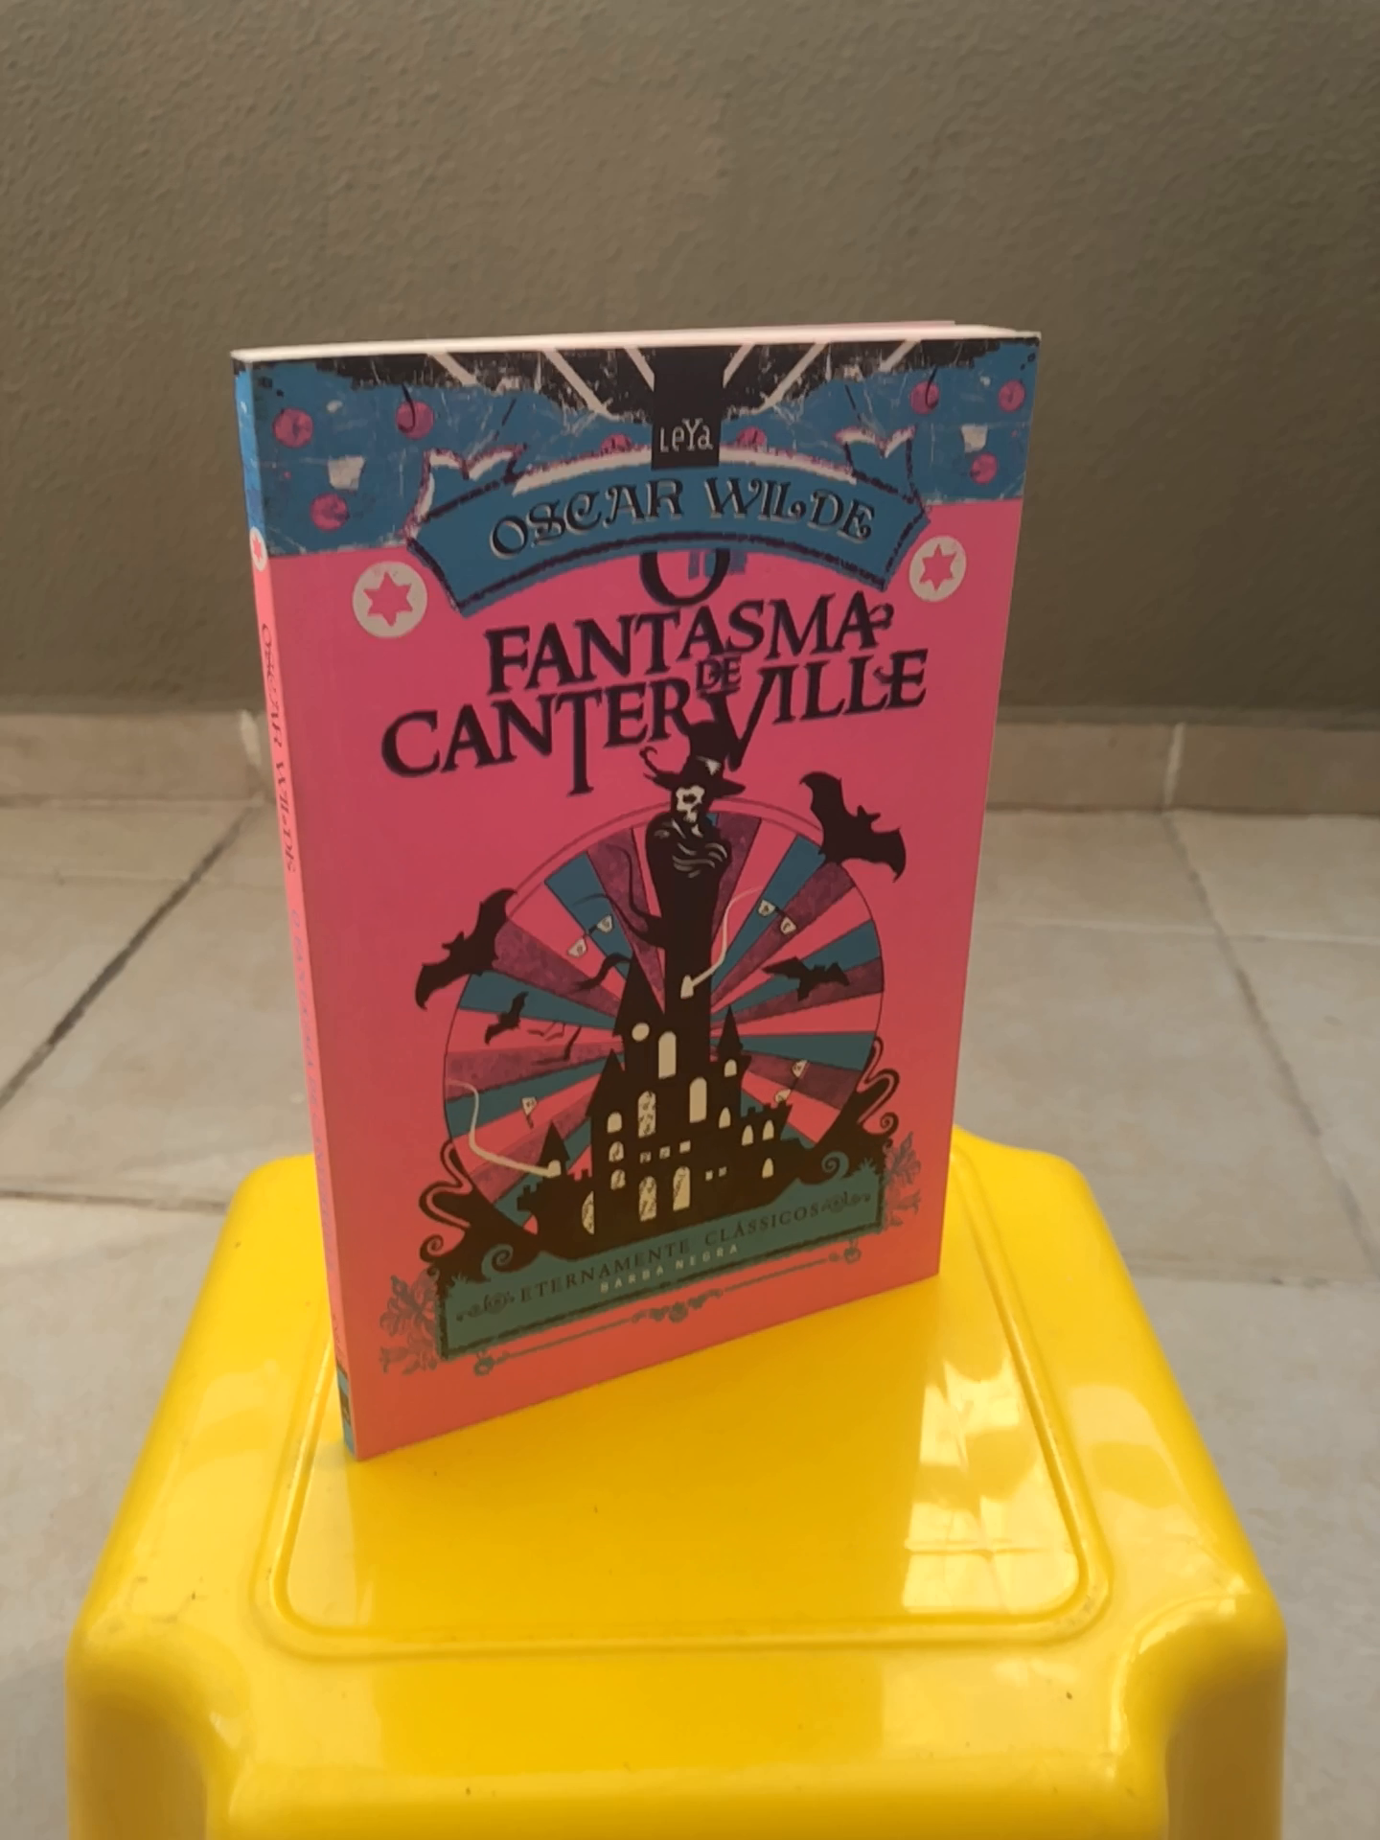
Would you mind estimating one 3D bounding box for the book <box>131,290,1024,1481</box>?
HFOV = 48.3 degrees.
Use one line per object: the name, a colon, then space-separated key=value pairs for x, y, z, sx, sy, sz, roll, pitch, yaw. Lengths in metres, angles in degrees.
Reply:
book: x=-0.013 y=-0.003 z=0.301 sx=0.150 sy=0.218 sz=0.020 roll=-12 pitch=28 yaw=-23
